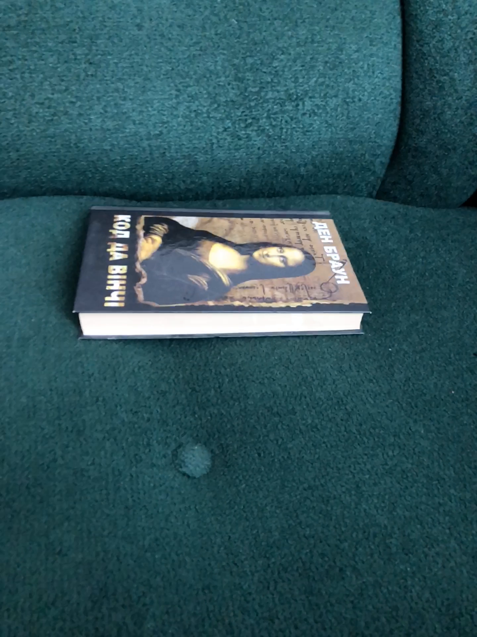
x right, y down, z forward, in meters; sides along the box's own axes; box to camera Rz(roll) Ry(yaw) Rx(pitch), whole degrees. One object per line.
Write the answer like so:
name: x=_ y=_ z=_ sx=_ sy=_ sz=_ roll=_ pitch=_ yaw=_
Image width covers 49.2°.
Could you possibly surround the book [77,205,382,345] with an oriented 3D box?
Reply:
book: x=-0.010 y=-0.040 z=0.414 sx=0.209 sy=0.030 sz=0.136 roll=-1 pitch=43 yaw=-8
